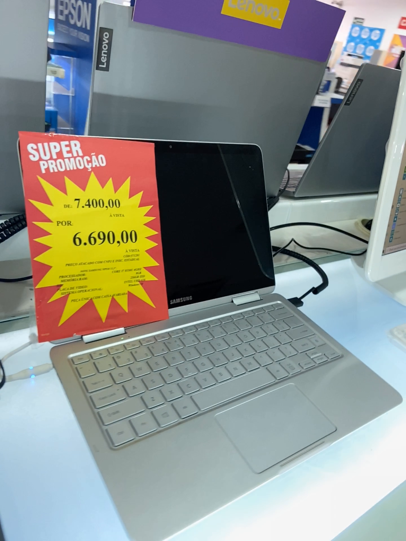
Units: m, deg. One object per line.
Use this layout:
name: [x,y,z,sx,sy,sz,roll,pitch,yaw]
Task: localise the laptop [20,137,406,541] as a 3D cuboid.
laptop: [0.018,0.003,0.418,0.306,0.170,0.311,-9,36,-34]
